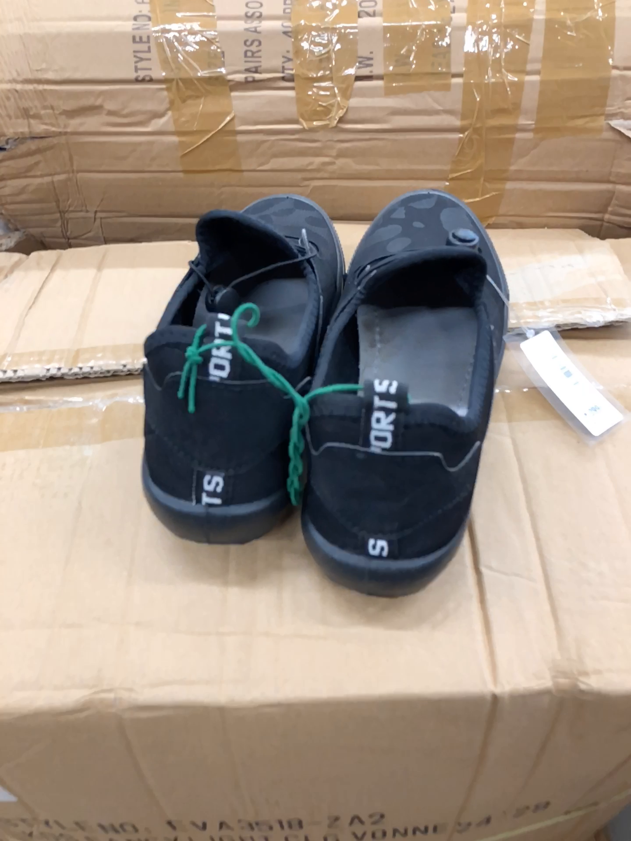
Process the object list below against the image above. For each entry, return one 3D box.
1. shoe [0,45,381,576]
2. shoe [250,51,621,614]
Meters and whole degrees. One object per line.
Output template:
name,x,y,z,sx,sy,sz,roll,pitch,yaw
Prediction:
shoe,-0.033,-0.088,0.390,0.120,0.129,0.312,4,46,5
shoe,0.059,-0.077,0.382,0.120,0.129,0.322,5,46,6
